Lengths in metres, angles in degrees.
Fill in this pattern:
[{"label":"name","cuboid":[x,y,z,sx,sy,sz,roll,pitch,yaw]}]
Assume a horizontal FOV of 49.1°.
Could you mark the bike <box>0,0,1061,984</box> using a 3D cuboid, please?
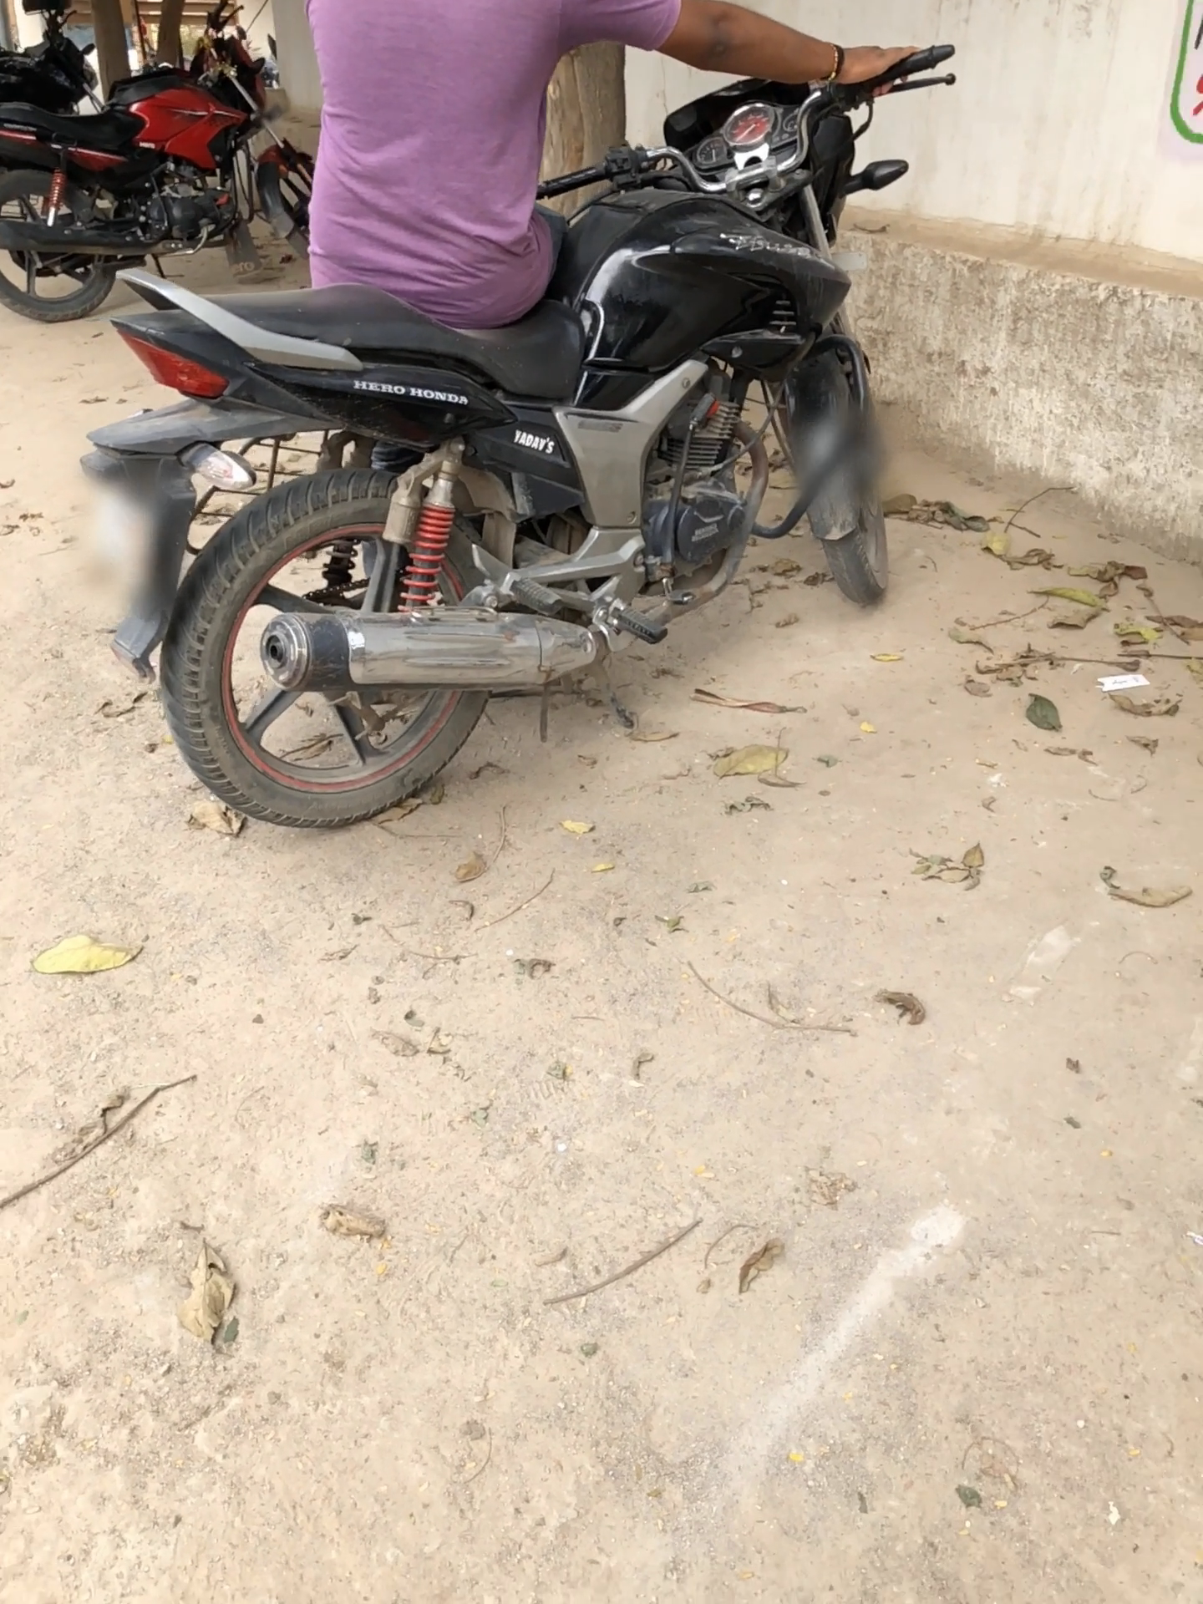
[{"label":"bike","cuboid":[-0.013,-0.817,2.487,0.825,1.190,1.847,24,41,36]}]
